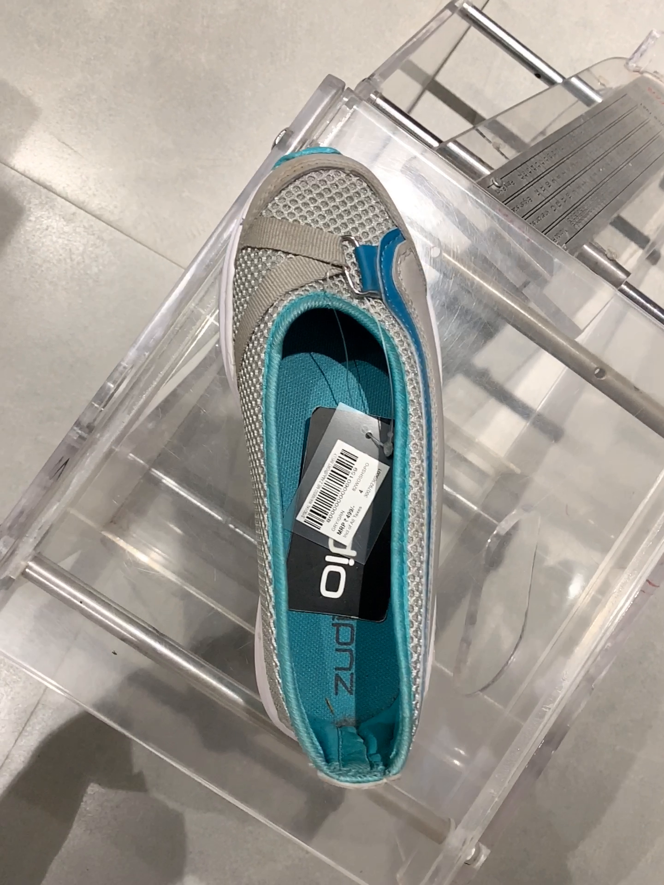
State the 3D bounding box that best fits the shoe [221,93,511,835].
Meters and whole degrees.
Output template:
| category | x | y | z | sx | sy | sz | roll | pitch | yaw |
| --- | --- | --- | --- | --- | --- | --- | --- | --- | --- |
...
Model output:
| category | x | y | z | sx | sy | sz | roll | pitch | yaw |
| --- | --- | --- | --- | --- | --- | --- | --- | --- | --- |
| shoe | 0.009 | 0.006 | 0.294 | 0.090 | 0.080 | 0.270 | -4 | 92 | -7 |
